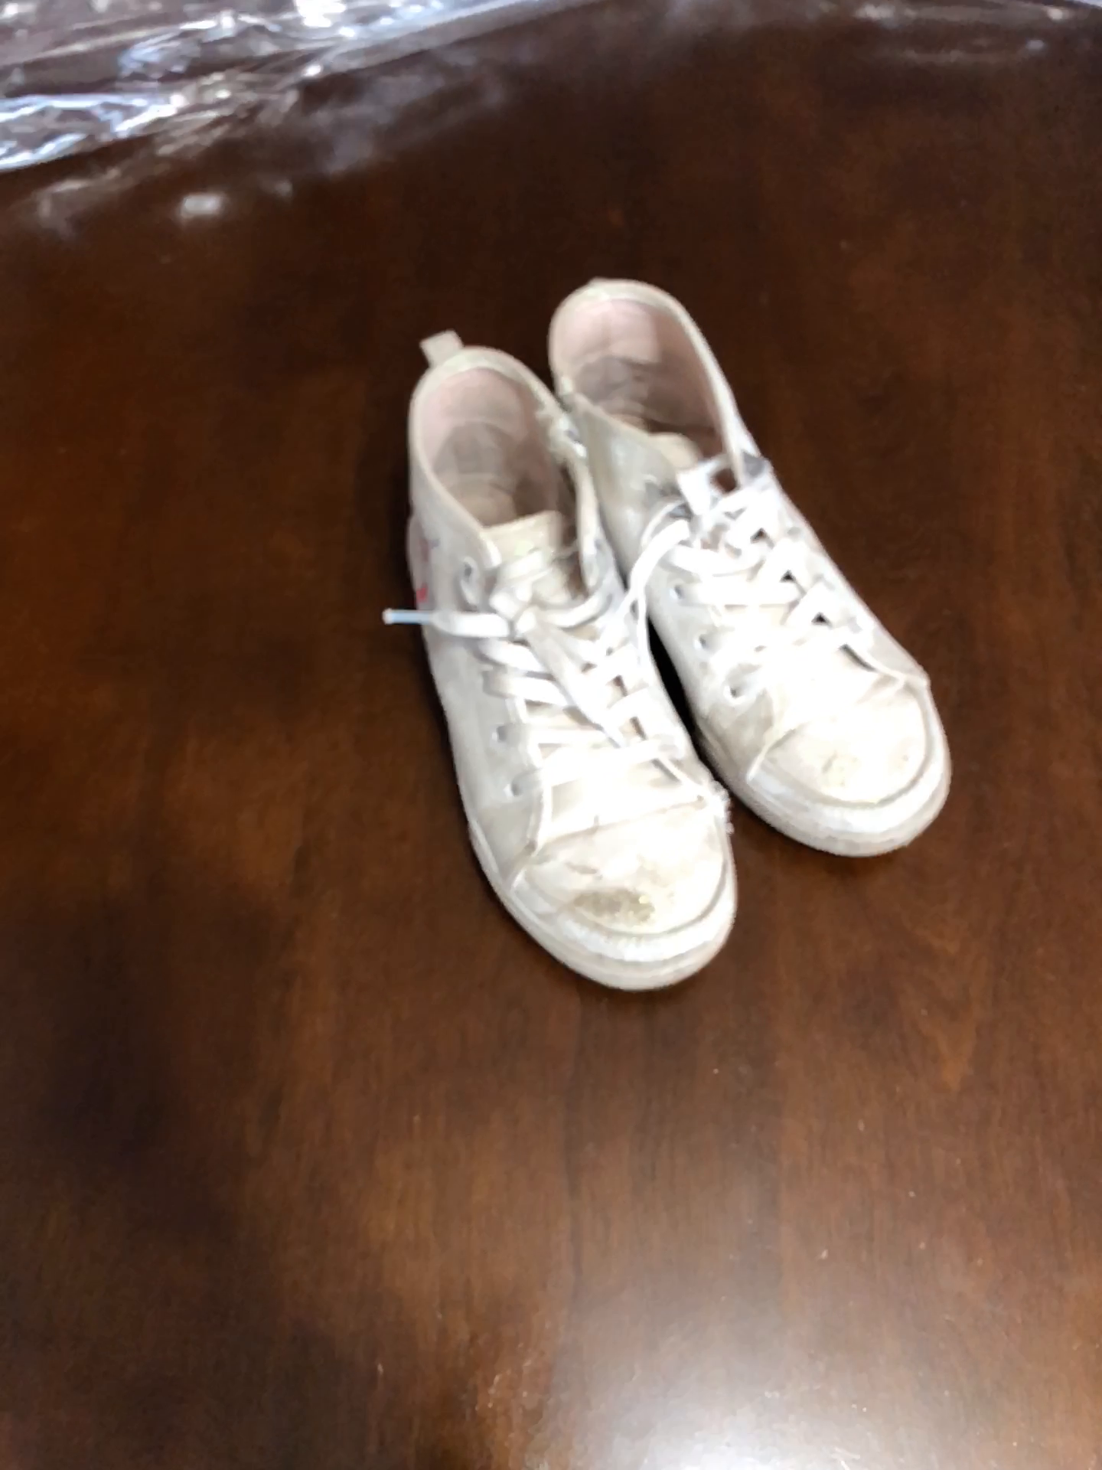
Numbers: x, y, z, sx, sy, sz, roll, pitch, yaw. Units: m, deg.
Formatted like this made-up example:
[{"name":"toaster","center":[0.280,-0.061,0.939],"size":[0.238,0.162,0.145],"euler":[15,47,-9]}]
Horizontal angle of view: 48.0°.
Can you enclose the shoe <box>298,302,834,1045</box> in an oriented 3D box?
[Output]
[{"name":"shoe","center":[-0.004,-0.023,0.428],"size":[0.090,0.100,0.220],"euler":[-19,66,-10]}]

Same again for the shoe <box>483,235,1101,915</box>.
[{"name":"shoe","center":[0.075,-0.061,0.458],"size":[0.090,0.100,0.220],"euler":[-32,69,-15]}]
